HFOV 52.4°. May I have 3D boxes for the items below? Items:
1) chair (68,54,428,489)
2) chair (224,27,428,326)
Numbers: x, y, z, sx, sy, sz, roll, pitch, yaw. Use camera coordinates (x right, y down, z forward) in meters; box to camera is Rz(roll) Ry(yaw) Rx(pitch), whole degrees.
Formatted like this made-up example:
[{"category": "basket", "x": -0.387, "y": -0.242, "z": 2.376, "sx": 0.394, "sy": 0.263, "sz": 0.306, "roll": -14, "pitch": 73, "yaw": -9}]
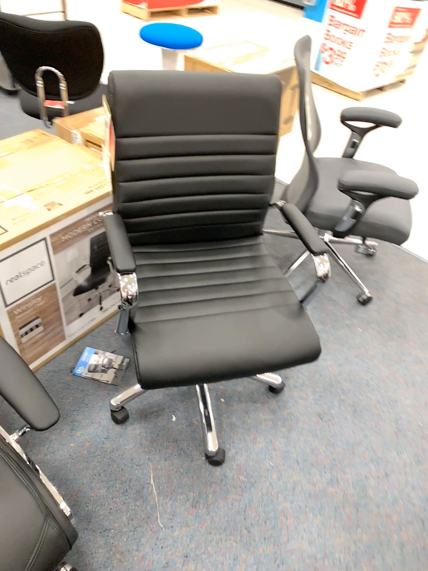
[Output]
[{"category": "chair", "x": -0.007, "y": -0.019, "z": 1.227, "sx": 0.654, "sy": 0.954, "sz": 0.652, "roll": -6, "pitch": 45, "yaw": -15}, {"category": "chair", "x": 0.518, "y": -0.464, "z": 1.851, "sx": 0.719, "sy": 0.874, "sz": 0.737, "roll": 13, "pitch": 43, "yaw": 5}]
